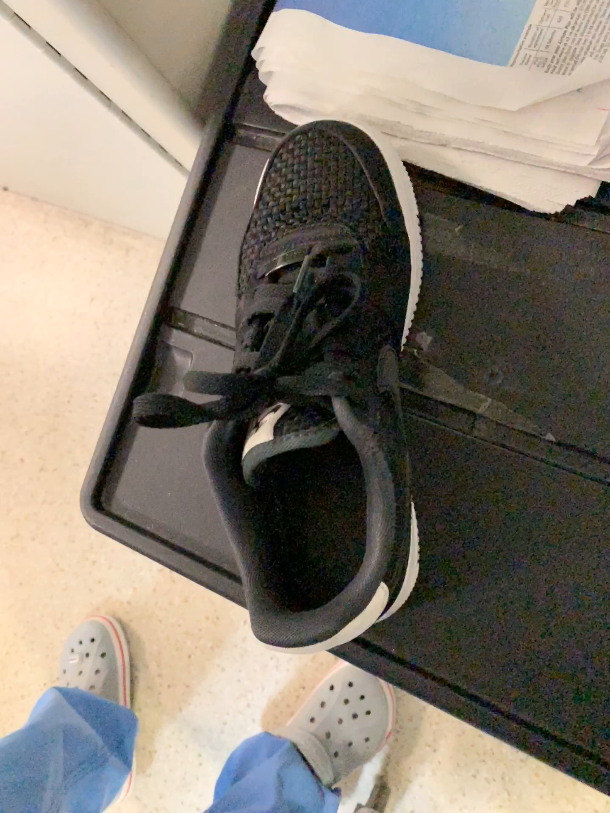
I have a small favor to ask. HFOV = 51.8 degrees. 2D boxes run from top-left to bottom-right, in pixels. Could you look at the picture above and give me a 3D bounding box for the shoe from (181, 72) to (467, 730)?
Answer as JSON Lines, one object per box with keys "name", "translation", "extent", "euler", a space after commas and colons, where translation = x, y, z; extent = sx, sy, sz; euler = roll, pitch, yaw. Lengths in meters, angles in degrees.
{"name": "shoe", "translation": [0.013, -0.001, 0.270], "extent": [0.089, 0.094, 0.225], "euler": [-5, 84, 16]}
